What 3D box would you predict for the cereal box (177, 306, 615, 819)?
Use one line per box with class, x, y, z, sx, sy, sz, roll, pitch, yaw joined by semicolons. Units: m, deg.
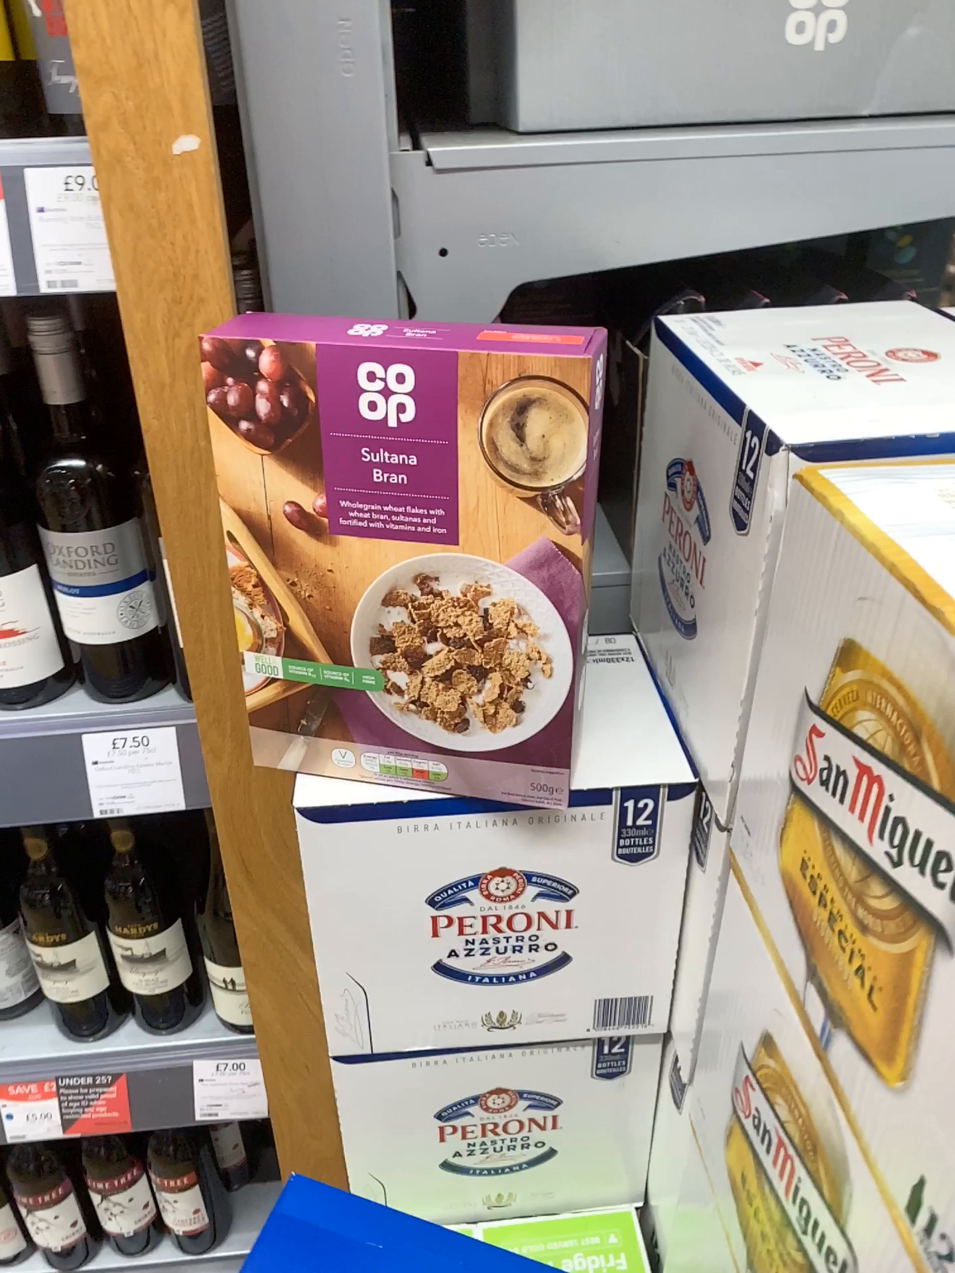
cereal box;-0.036;-0.038;0.538;0.200;0.258;0.071;6;30;13
